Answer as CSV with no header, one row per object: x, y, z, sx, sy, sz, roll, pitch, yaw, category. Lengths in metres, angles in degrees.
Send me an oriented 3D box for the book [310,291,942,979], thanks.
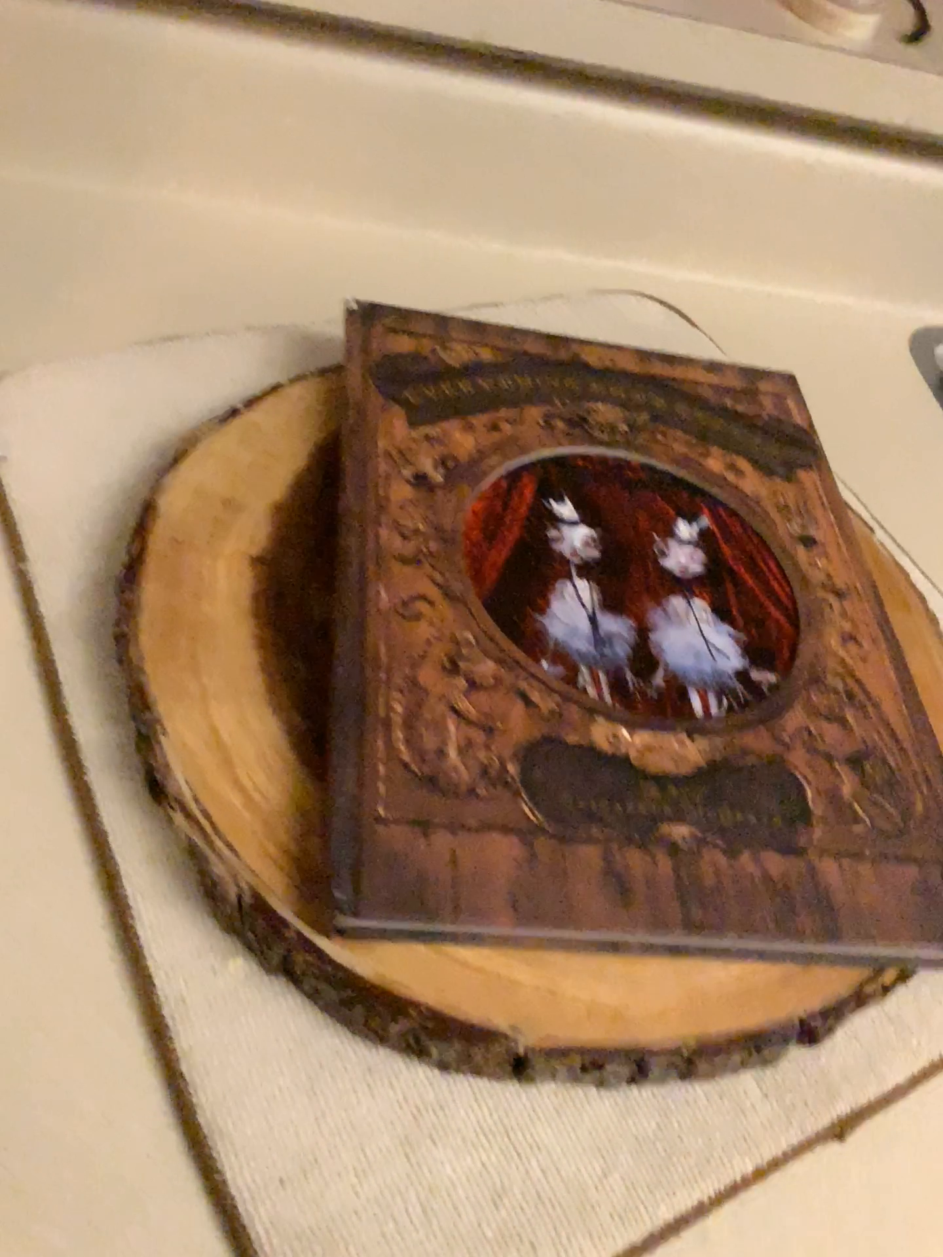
0.058,-0.019,0.422,0.230,0.020,0.310,6,50,-12,book
